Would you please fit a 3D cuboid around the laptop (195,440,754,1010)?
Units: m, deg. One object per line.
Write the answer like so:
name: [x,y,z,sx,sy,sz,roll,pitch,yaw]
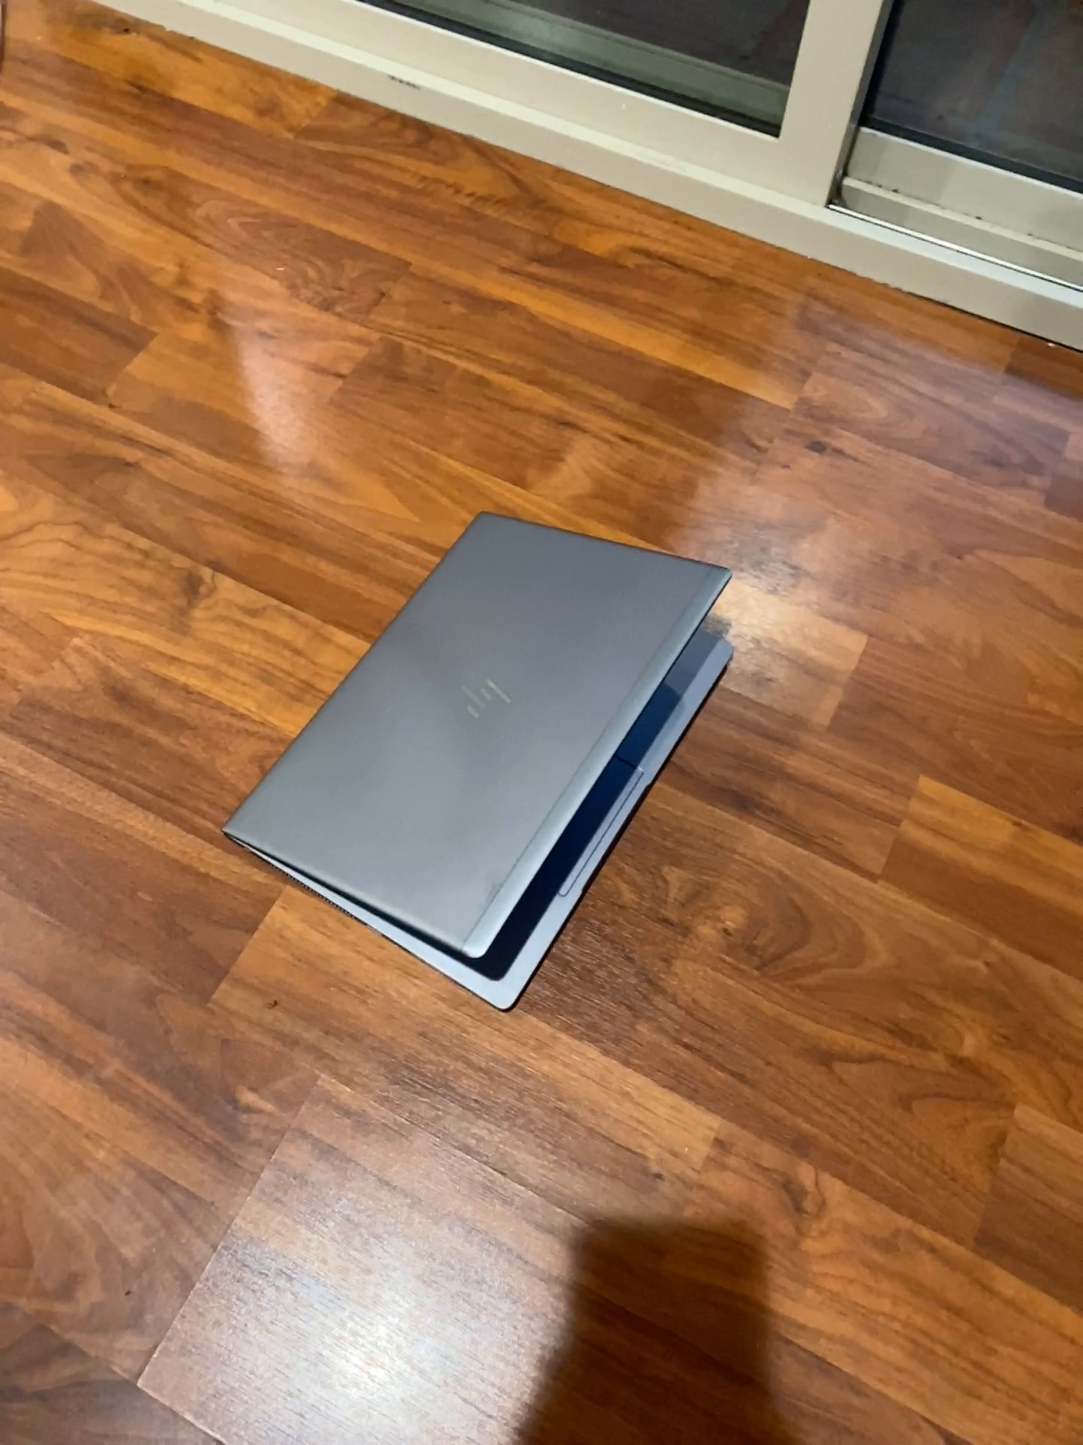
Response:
laptop: [-0.035,-0.012,0.762,0.230,0.078,0.325,29,66,12]
